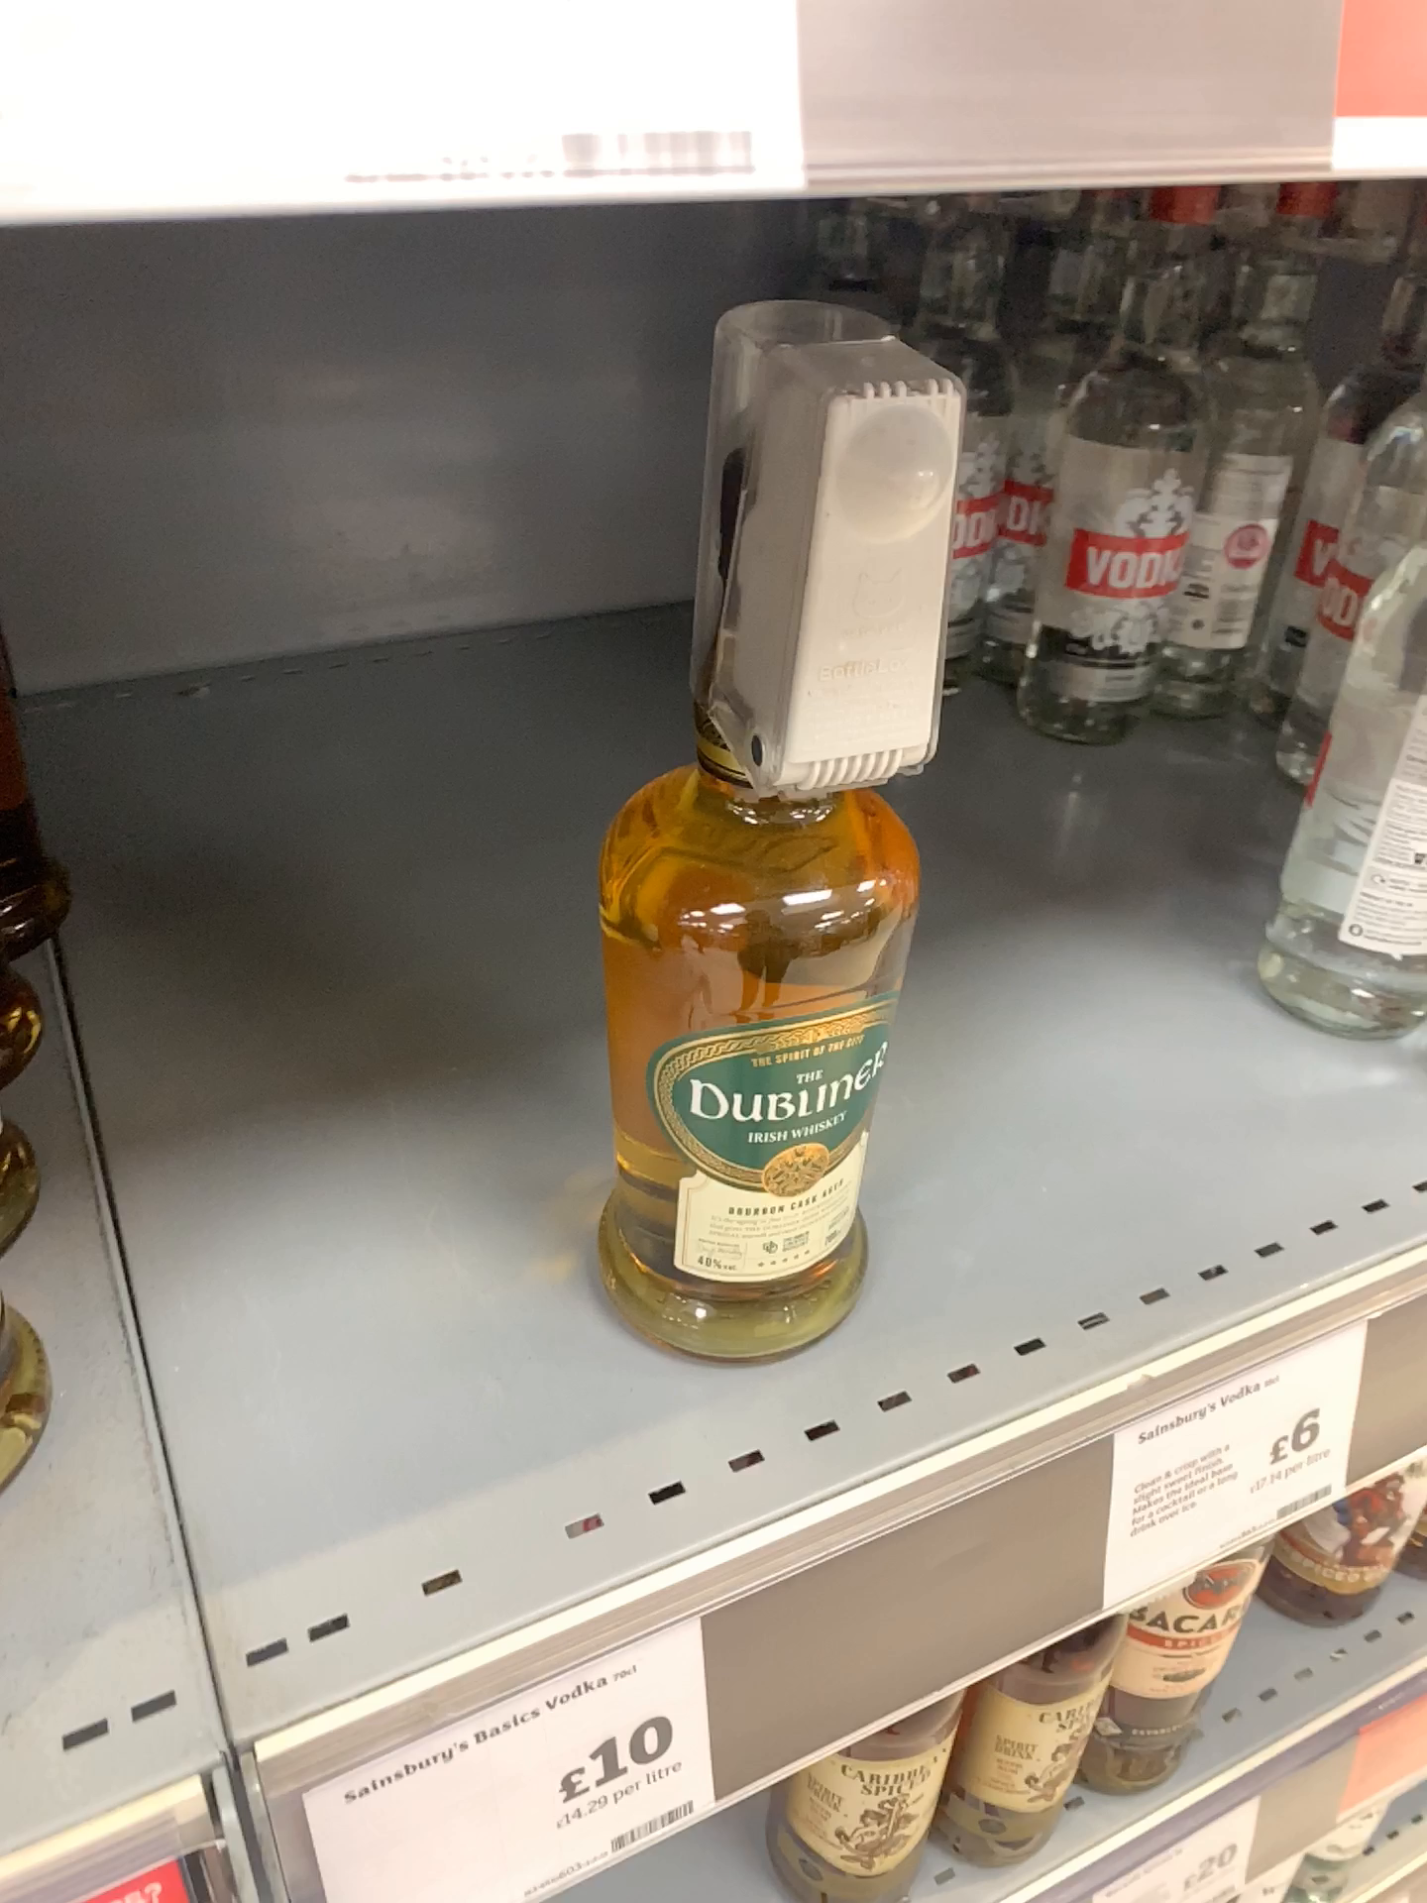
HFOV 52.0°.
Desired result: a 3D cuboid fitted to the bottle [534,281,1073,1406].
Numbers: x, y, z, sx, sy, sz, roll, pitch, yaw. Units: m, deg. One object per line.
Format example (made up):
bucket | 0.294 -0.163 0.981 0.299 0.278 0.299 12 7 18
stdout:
bottle | 0.010 -0.016 0.392 0.089 0.283 0.091 1 35 -1
